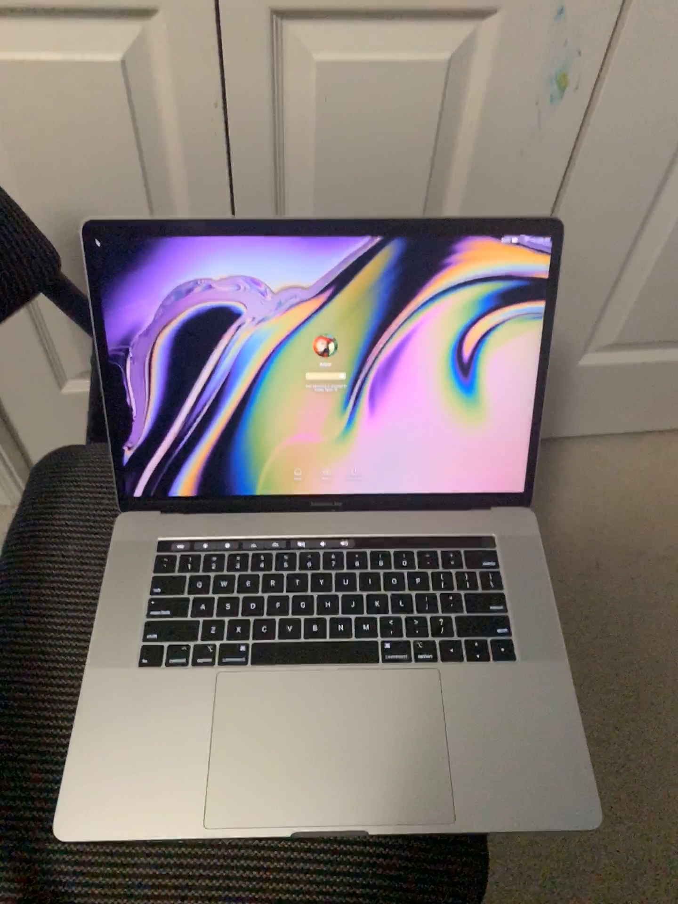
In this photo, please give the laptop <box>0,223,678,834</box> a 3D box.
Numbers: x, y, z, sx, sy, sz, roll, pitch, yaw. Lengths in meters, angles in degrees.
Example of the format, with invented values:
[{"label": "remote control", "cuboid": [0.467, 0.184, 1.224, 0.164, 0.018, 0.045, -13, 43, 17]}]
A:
[{"label": "laptop", "cuboid": [-0.004, 0.038, 0.461, 0.342, 0.195, 0.353, 0, 53, -2]}]
